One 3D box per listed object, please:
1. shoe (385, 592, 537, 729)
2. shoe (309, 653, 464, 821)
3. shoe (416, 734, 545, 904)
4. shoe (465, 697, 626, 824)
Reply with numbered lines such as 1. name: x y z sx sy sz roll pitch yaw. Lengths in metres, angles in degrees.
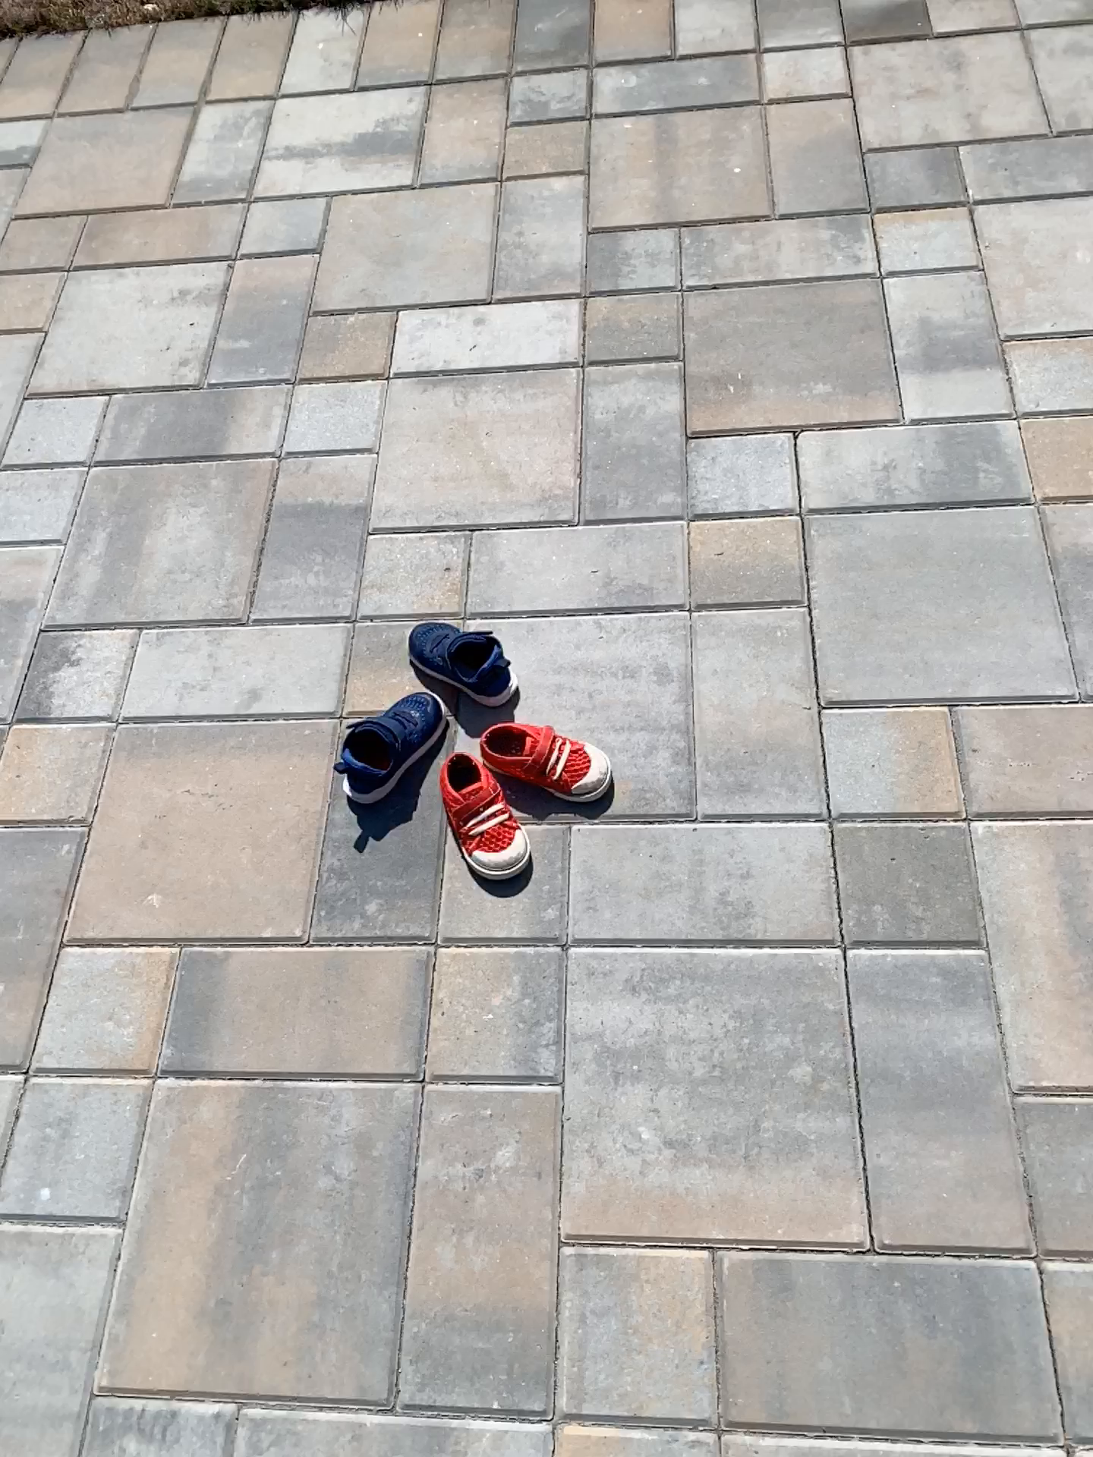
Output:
1. shoe: -0.103 -0.084 1.356 0.160 0.070 0.080 30 69 21
2. shoe: -0.183 0.009 1.298 0.080 0.080 0.160 31 69 21
3. shoe: -0.075 0.101 1.264 0.080 0.070 0.160 -25 62 -7
4. shoe: 0.001 0.036 1.275 0.160 0.070 0.080 17 65 15
